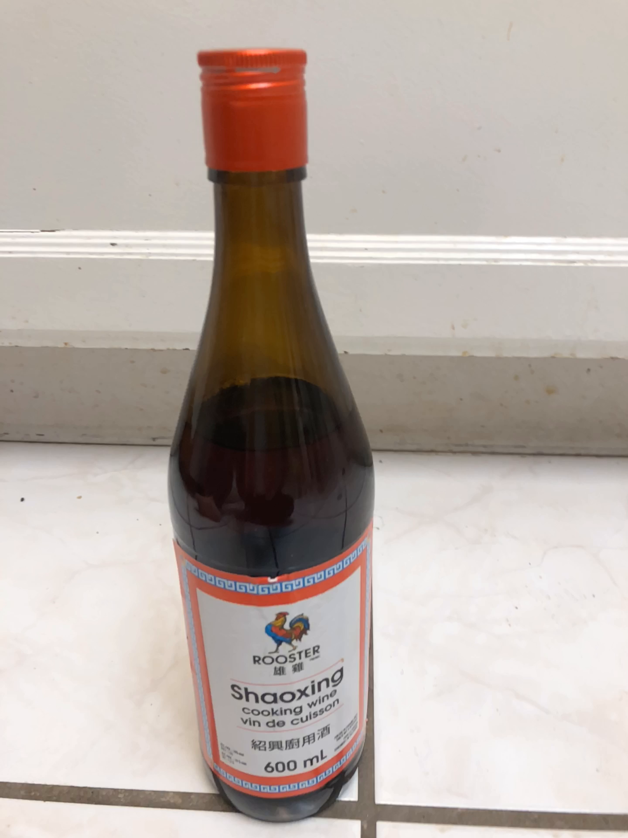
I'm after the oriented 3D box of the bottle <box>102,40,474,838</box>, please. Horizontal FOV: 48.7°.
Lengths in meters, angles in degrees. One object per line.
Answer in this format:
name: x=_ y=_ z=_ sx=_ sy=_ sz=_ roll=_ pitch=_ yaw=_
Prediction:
bottle: x=-0.012 y=0.026 z=0.242 sx=0.080 sy=0.278 sz=0.070 roll=-7 pitch=29 yaw=-12
